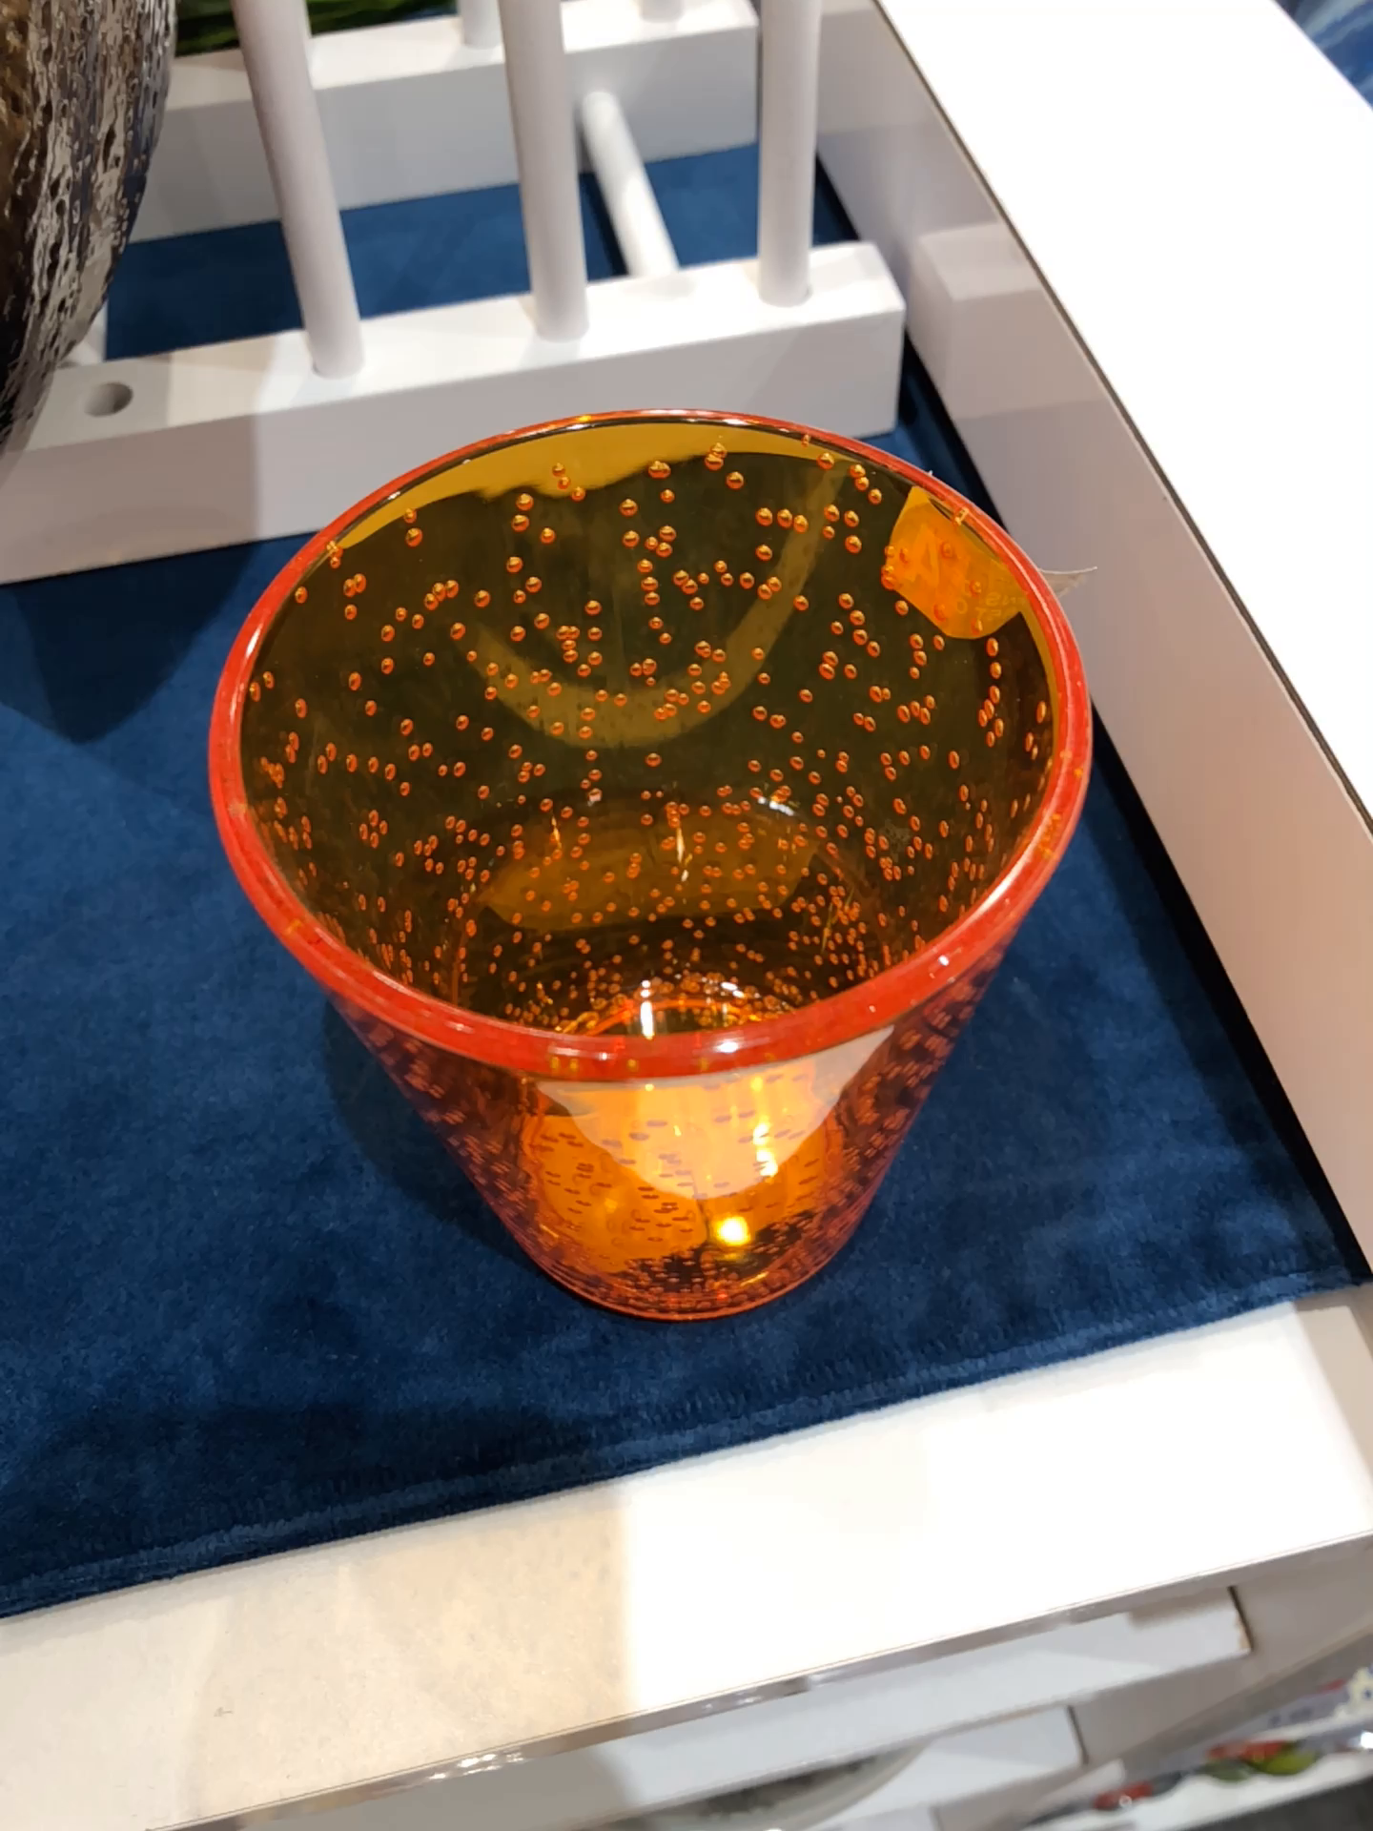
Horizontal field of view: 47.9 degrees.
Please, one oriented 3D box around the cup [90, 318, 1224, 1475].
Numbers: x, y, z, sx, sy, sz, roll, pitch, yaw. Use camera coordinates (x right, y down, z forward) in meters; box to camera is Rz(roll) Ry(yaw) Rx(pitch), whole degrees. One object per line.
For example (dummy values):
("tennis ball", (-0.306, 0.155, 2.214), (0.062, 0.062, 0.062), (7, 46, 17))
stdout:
("cup", (-0.005, 0.001, 0.176), (0.080, 0.090, 0.070), (-22, 58, -13))
